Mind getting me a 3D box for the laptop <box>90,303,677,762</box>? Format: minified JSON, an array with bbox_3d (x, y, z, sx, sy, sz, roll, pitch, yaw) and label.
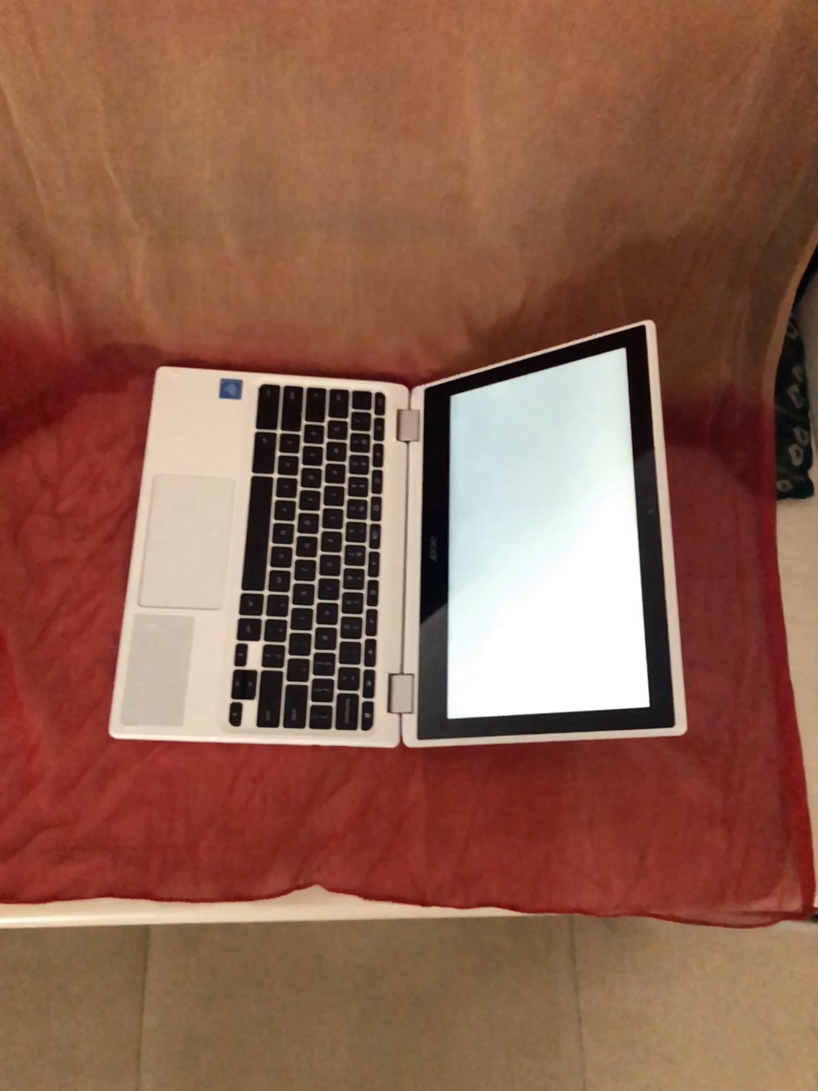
[{"bbox_3d":[-0.013,-0.003,0.615,0.337,0.113,0.263,4,70,-4],"label":"laptop"}]
